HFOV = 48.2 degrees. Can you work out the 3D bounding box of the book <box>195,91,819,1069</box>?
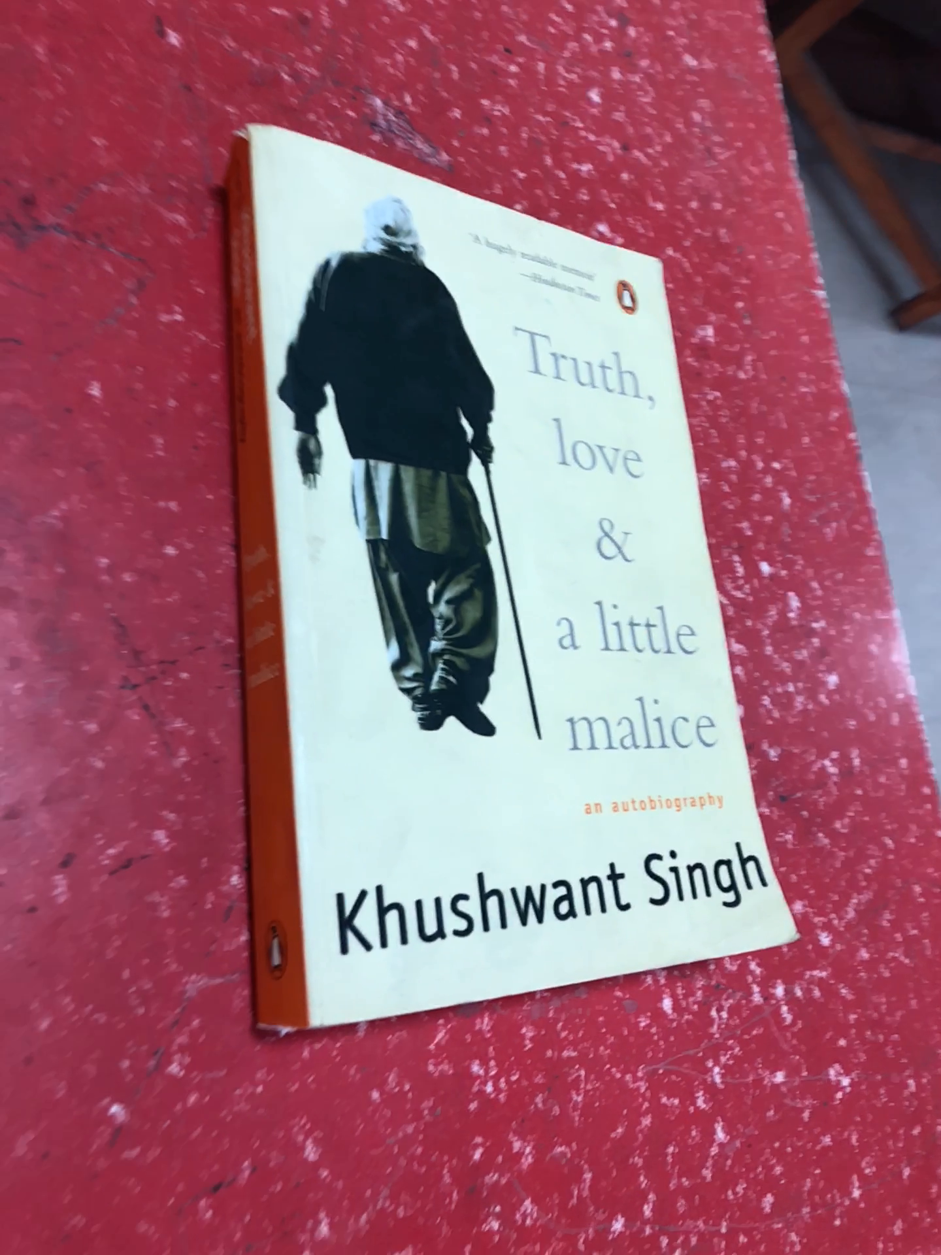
[{"bbox_3d":[0.008,-0.013,0.269,0.141,0.040,0.210,4,72,-34],"label":"book"}]
